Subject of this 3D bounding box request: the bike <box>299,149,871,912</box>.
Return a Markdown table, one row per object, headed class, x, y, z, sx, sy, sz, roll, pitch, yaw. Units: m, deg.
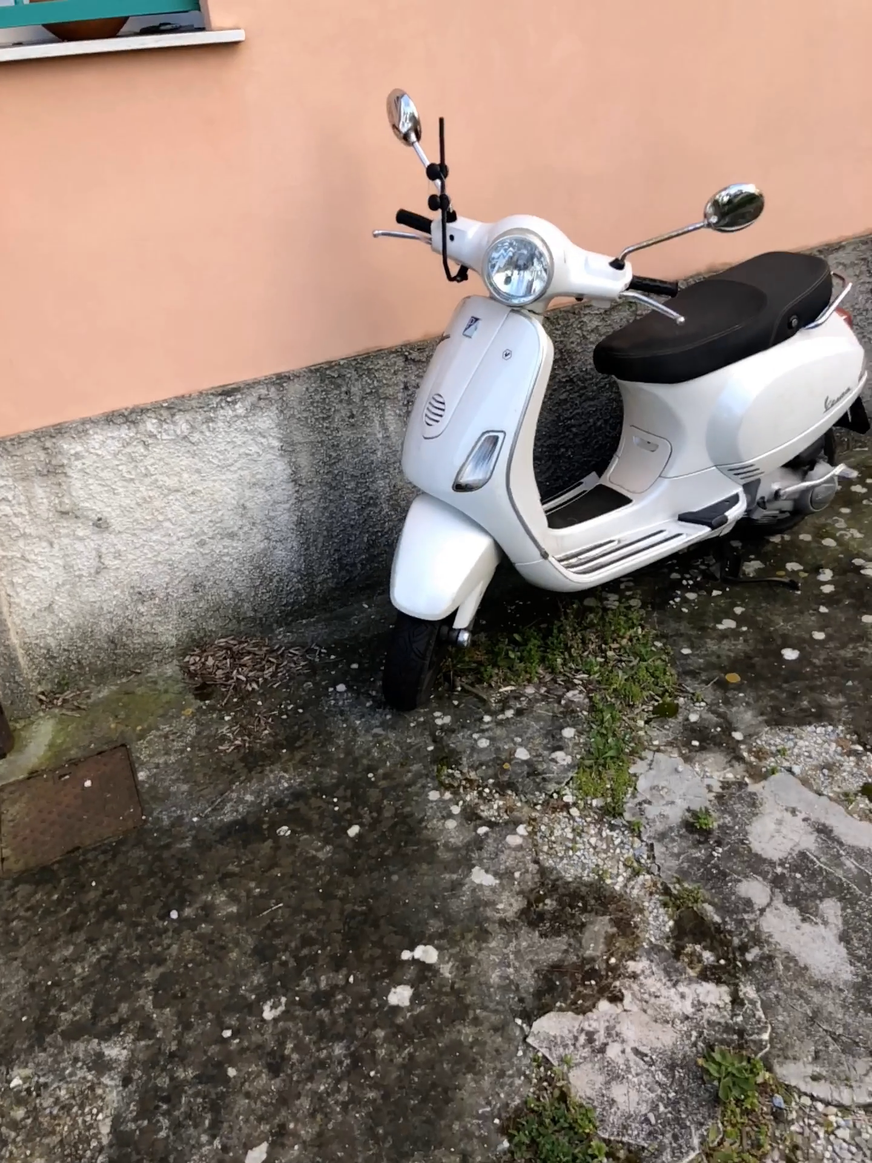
| class | x | y | z | sx | sy | sz | roll | pitch | yaw |
| --- | --- | --- | --- | --- | --- | --- | --- | --- | --- |
| bike | 0.577 | -0.276 | 2.298 | 1.660 | 1.084 | 0.647 | -25 | 34 | -27 |
